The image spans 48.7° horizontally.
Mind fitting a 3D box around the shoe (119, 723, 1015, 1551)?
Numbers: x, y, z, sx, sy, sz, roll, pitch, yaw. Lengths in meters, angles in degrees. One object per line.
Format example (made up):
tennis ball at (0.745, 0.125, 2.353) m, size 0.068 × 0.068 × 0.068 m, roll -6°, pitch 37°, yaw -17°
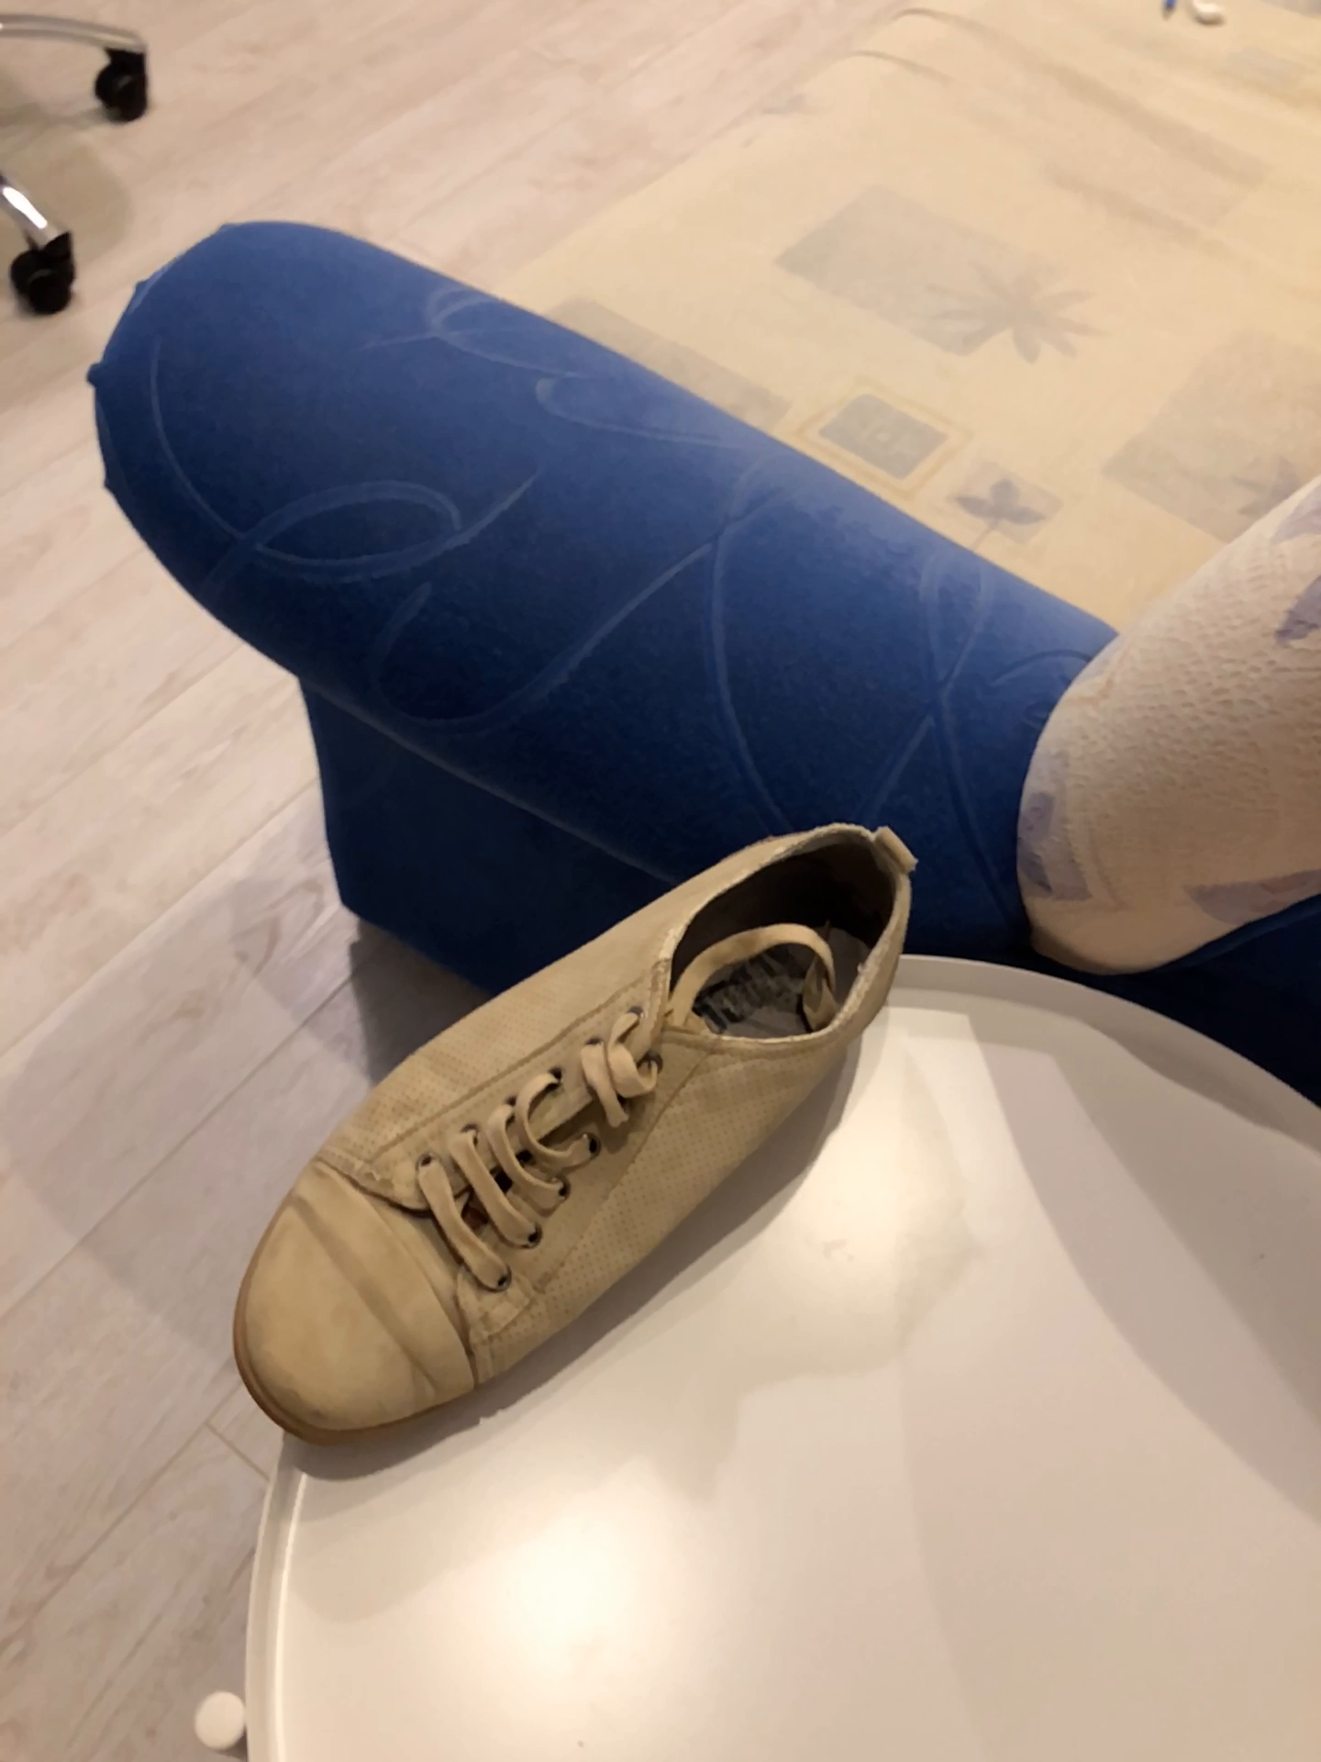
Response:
shoe at (-0.021, 0.074, 0.494) m, size 0.281 × 0.070 × 0.110 m, roll -37°, pitch 69°, yaw -23°
